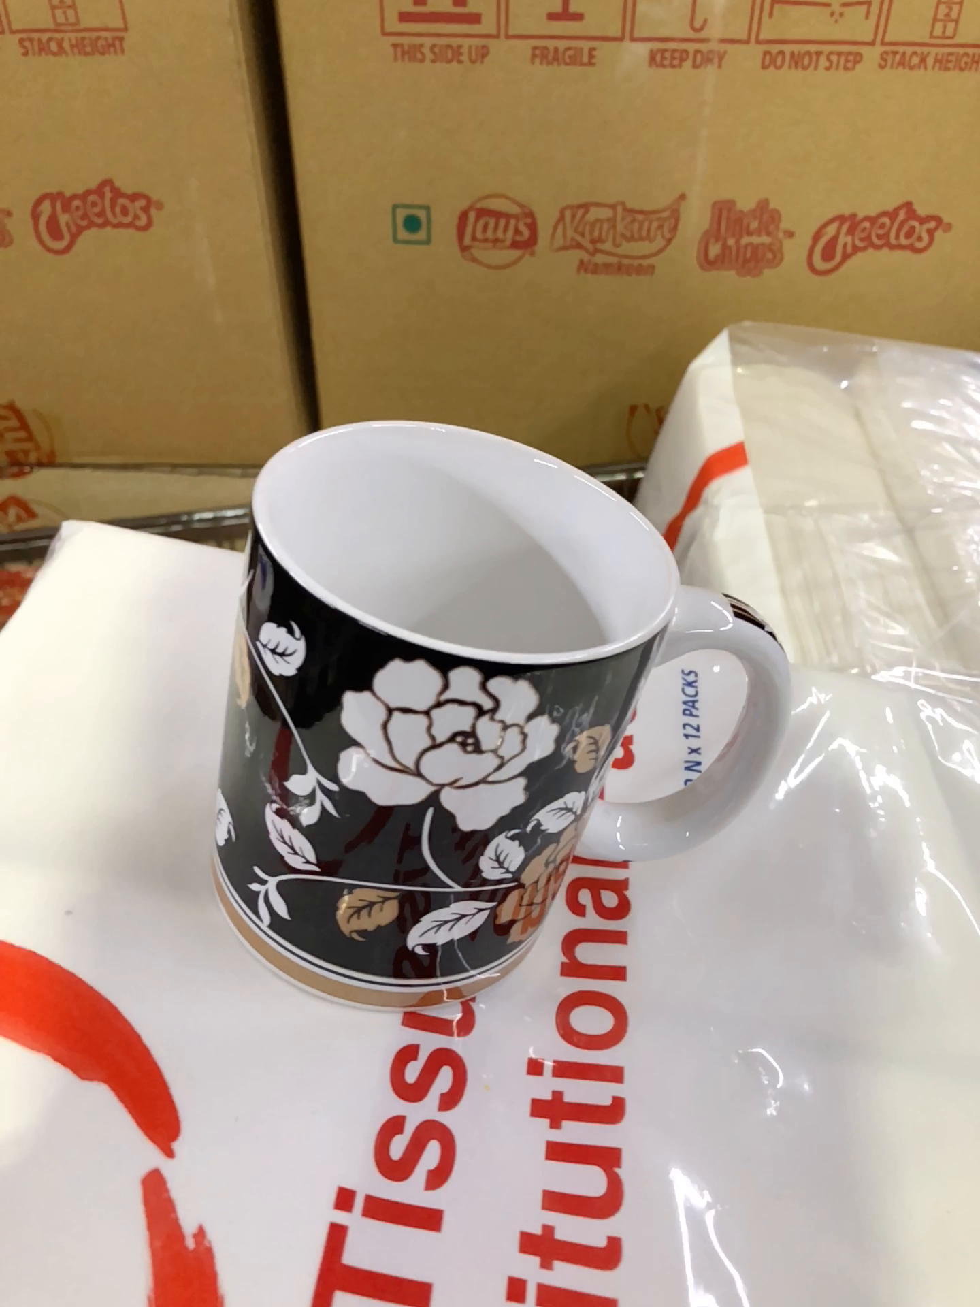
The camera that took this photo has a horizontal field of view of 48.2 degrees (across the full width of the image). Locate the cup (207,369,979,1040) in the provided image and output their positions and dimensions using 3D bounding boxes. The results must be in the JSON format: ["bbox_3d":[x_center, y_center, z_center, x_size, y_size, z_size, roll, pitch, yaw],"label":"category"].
[{"bbox_3d":[0.014,0.015,0.226,0.130,0.099,0.081,5,40,-16],"label":"cup"}]
